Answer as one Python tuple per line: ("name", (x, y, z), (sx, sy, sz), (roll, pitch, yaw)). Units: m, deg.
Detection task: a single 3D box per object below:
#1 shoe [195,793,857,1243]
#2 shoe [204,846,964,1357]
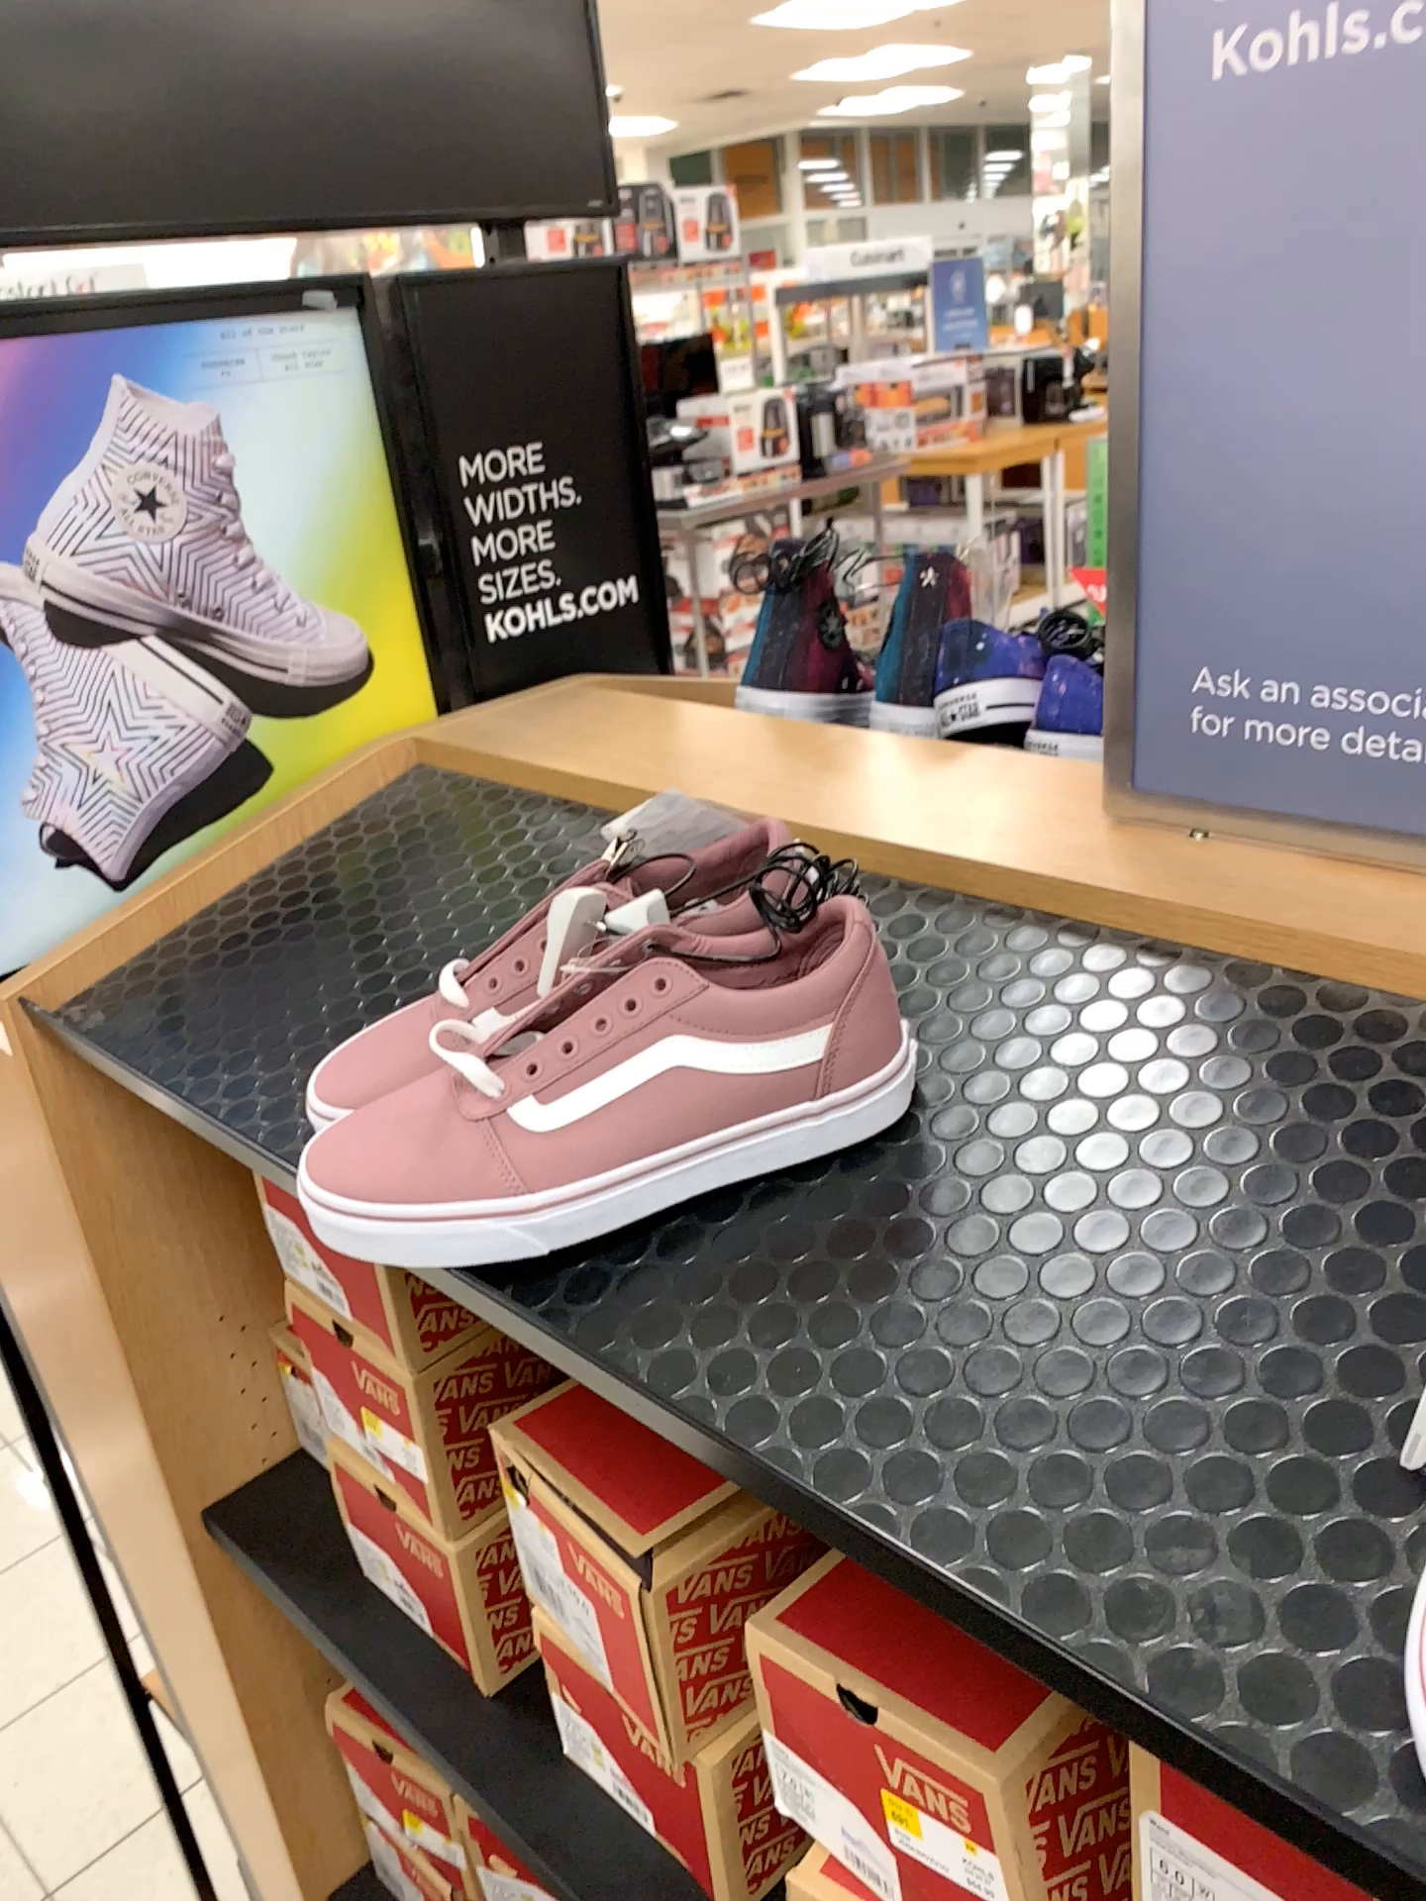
("shoe", (-0.081, 0.026, 0.666), (0.260, 0.100, 0.100), (-17, 24, -3))
("shoe", (-0.048, 0.055, 0.583), (0.260, 0.100, 0.100), (-16, 24, 0))
